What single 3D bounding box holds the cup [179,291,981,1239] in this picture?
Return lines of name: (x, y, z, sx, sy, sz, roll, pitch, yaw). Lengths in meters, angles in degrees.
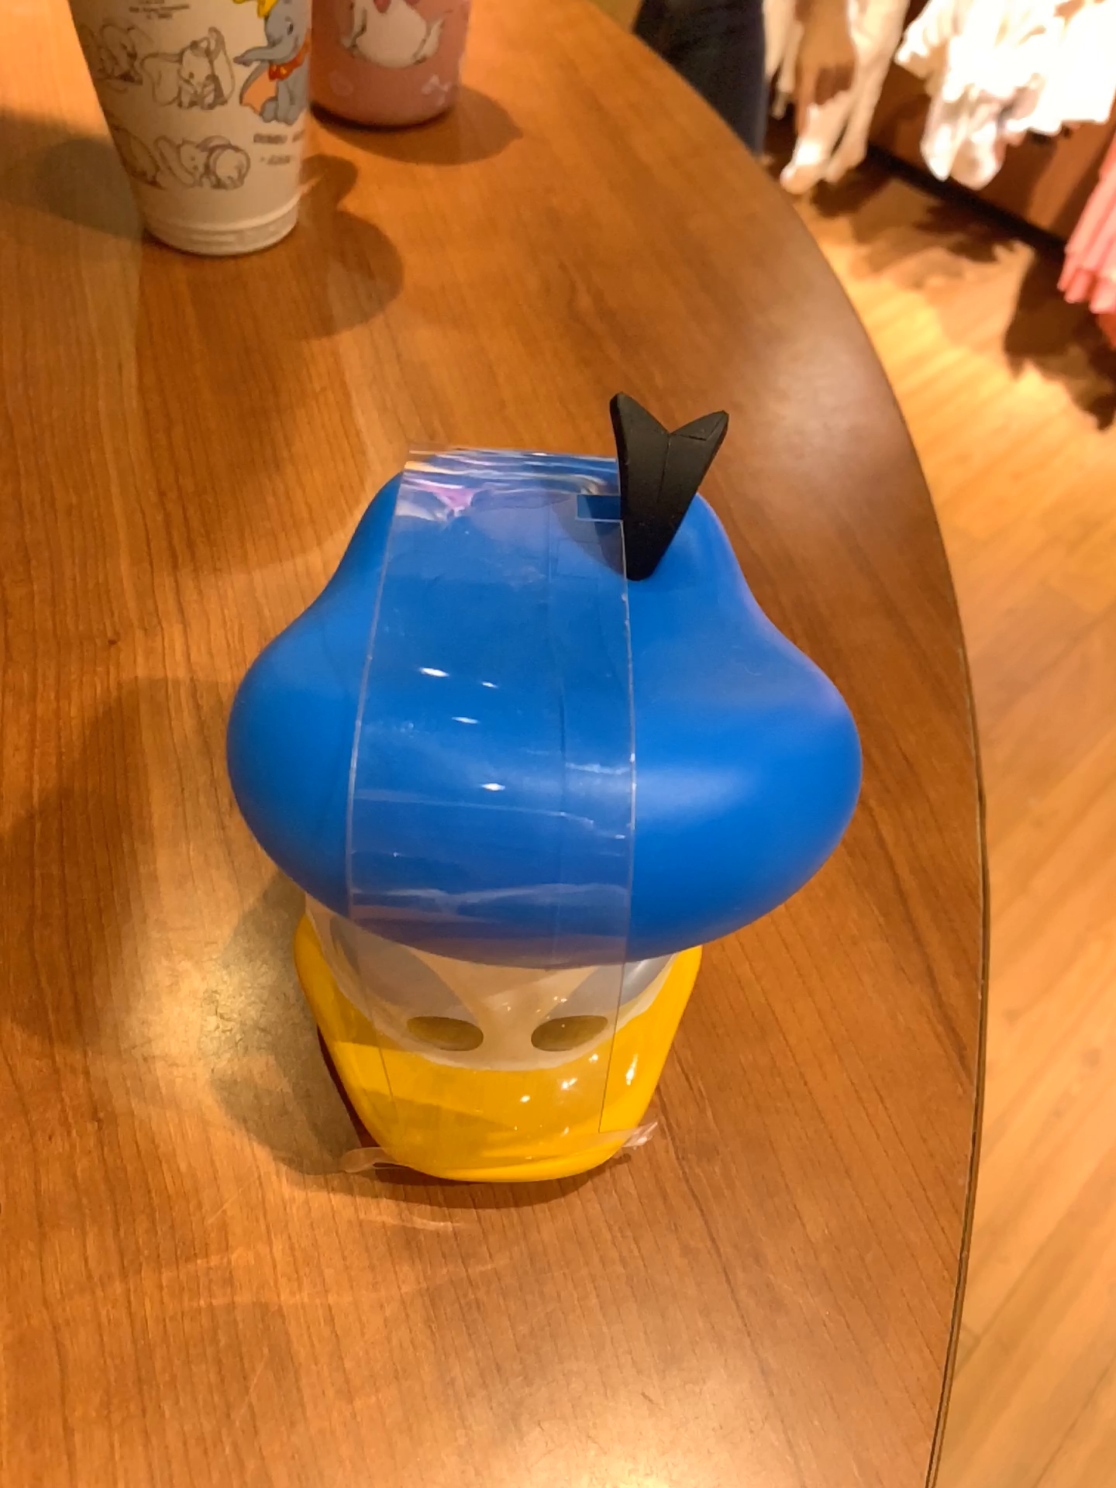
cup: (-0.003, 0.012, 0.247, 0.105, 0.132, 0.150, 3, 56, -5)
